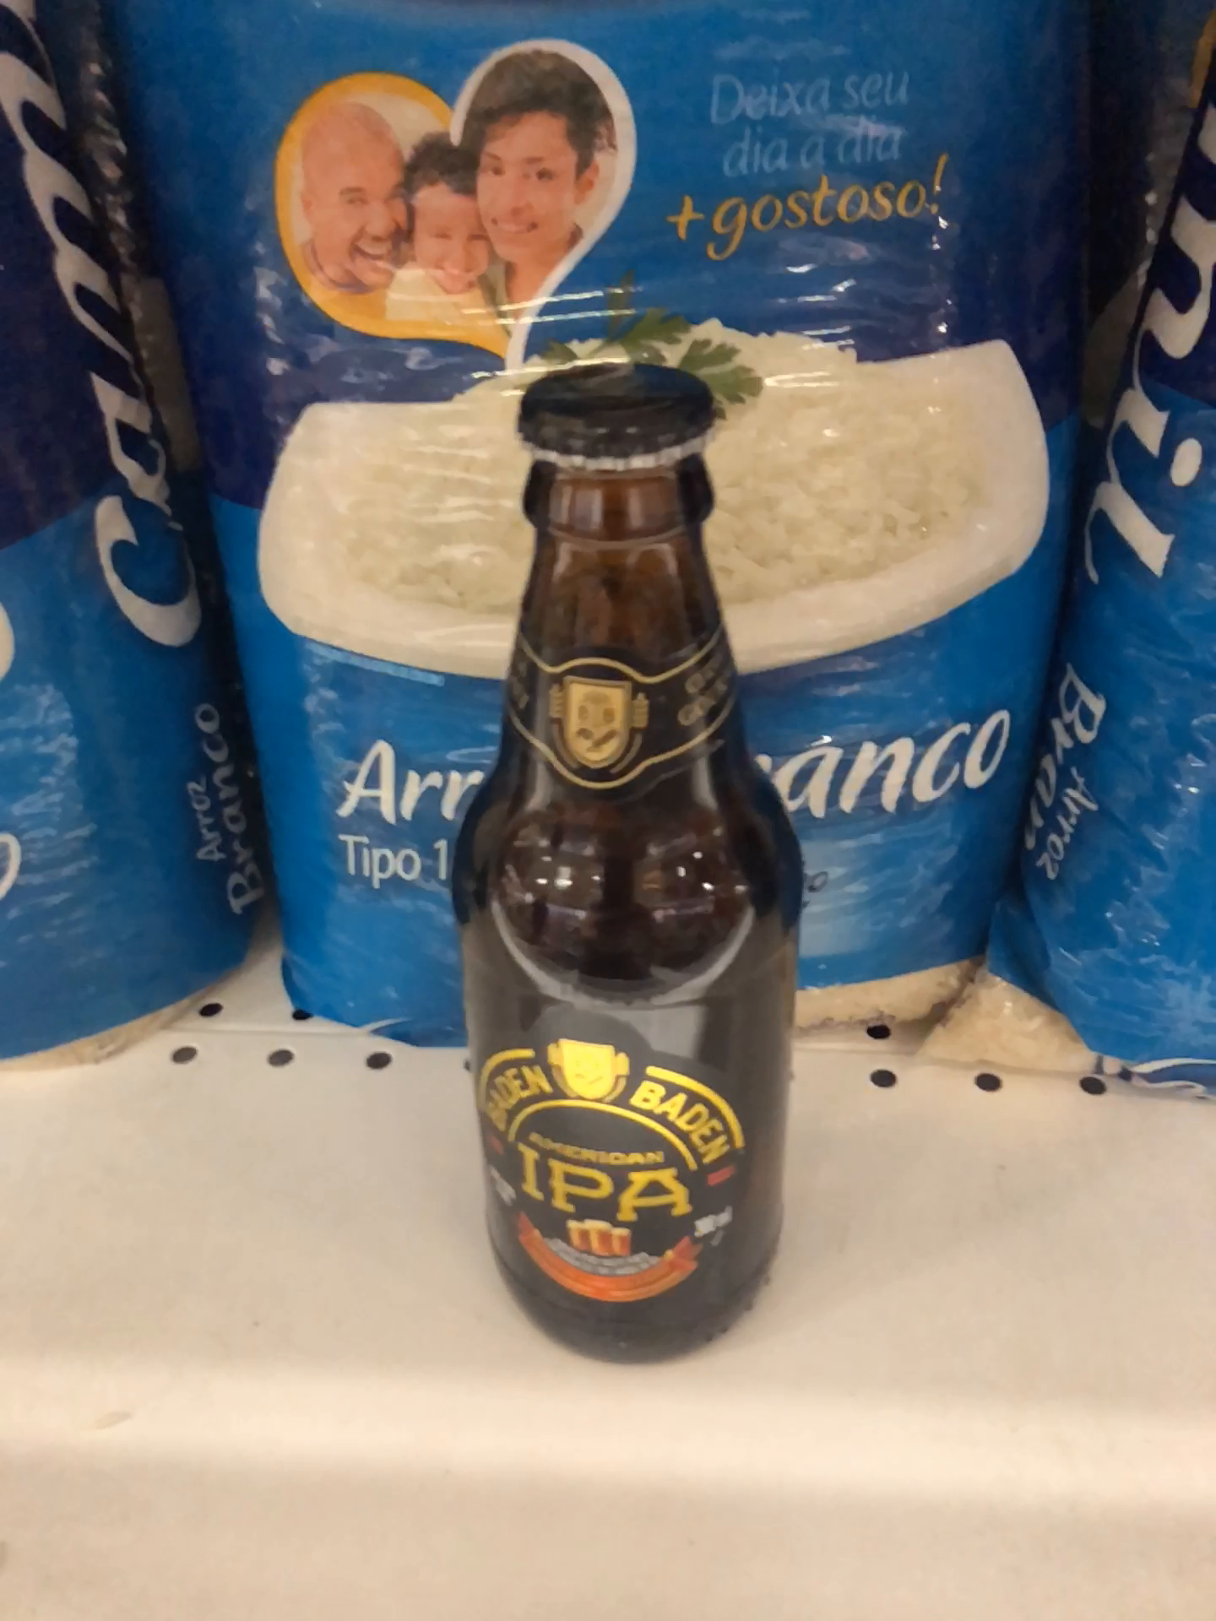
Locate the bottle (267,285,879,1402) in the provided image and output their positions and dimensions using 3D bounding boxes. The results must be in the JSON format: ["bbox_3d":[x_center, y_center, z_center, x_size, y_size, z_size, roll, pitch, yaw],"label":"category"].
[{"bbox_3d":[0.001,0.016,0.236,0.070,0.189,0.060,7,36,11],"label":"bottle"}]
